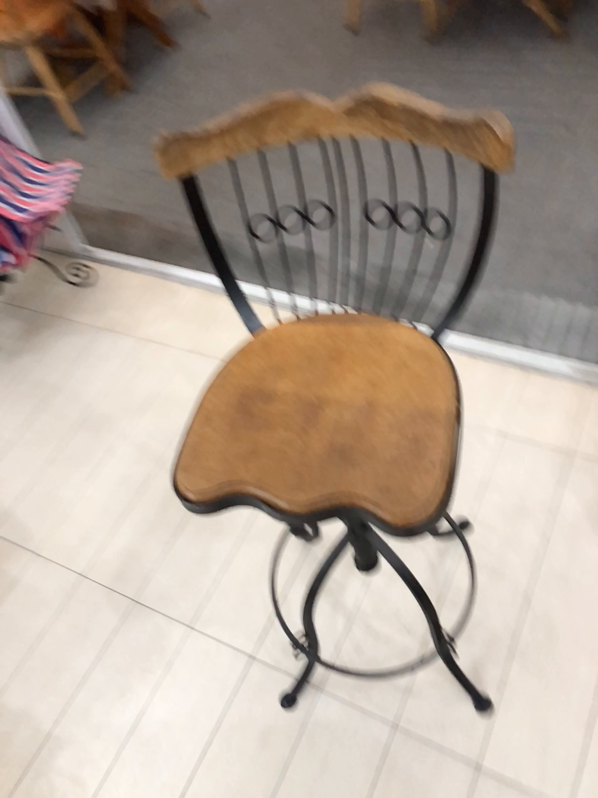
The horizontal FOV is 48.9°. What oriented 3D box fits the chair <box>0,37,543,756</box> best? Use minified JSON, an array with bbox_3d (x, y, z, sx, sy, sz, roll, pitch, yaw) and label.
[{"bbox_3d":[0.057,0.091,0.921,0.460,0.895,0.473,3,51,17],"label":"chair"}]
